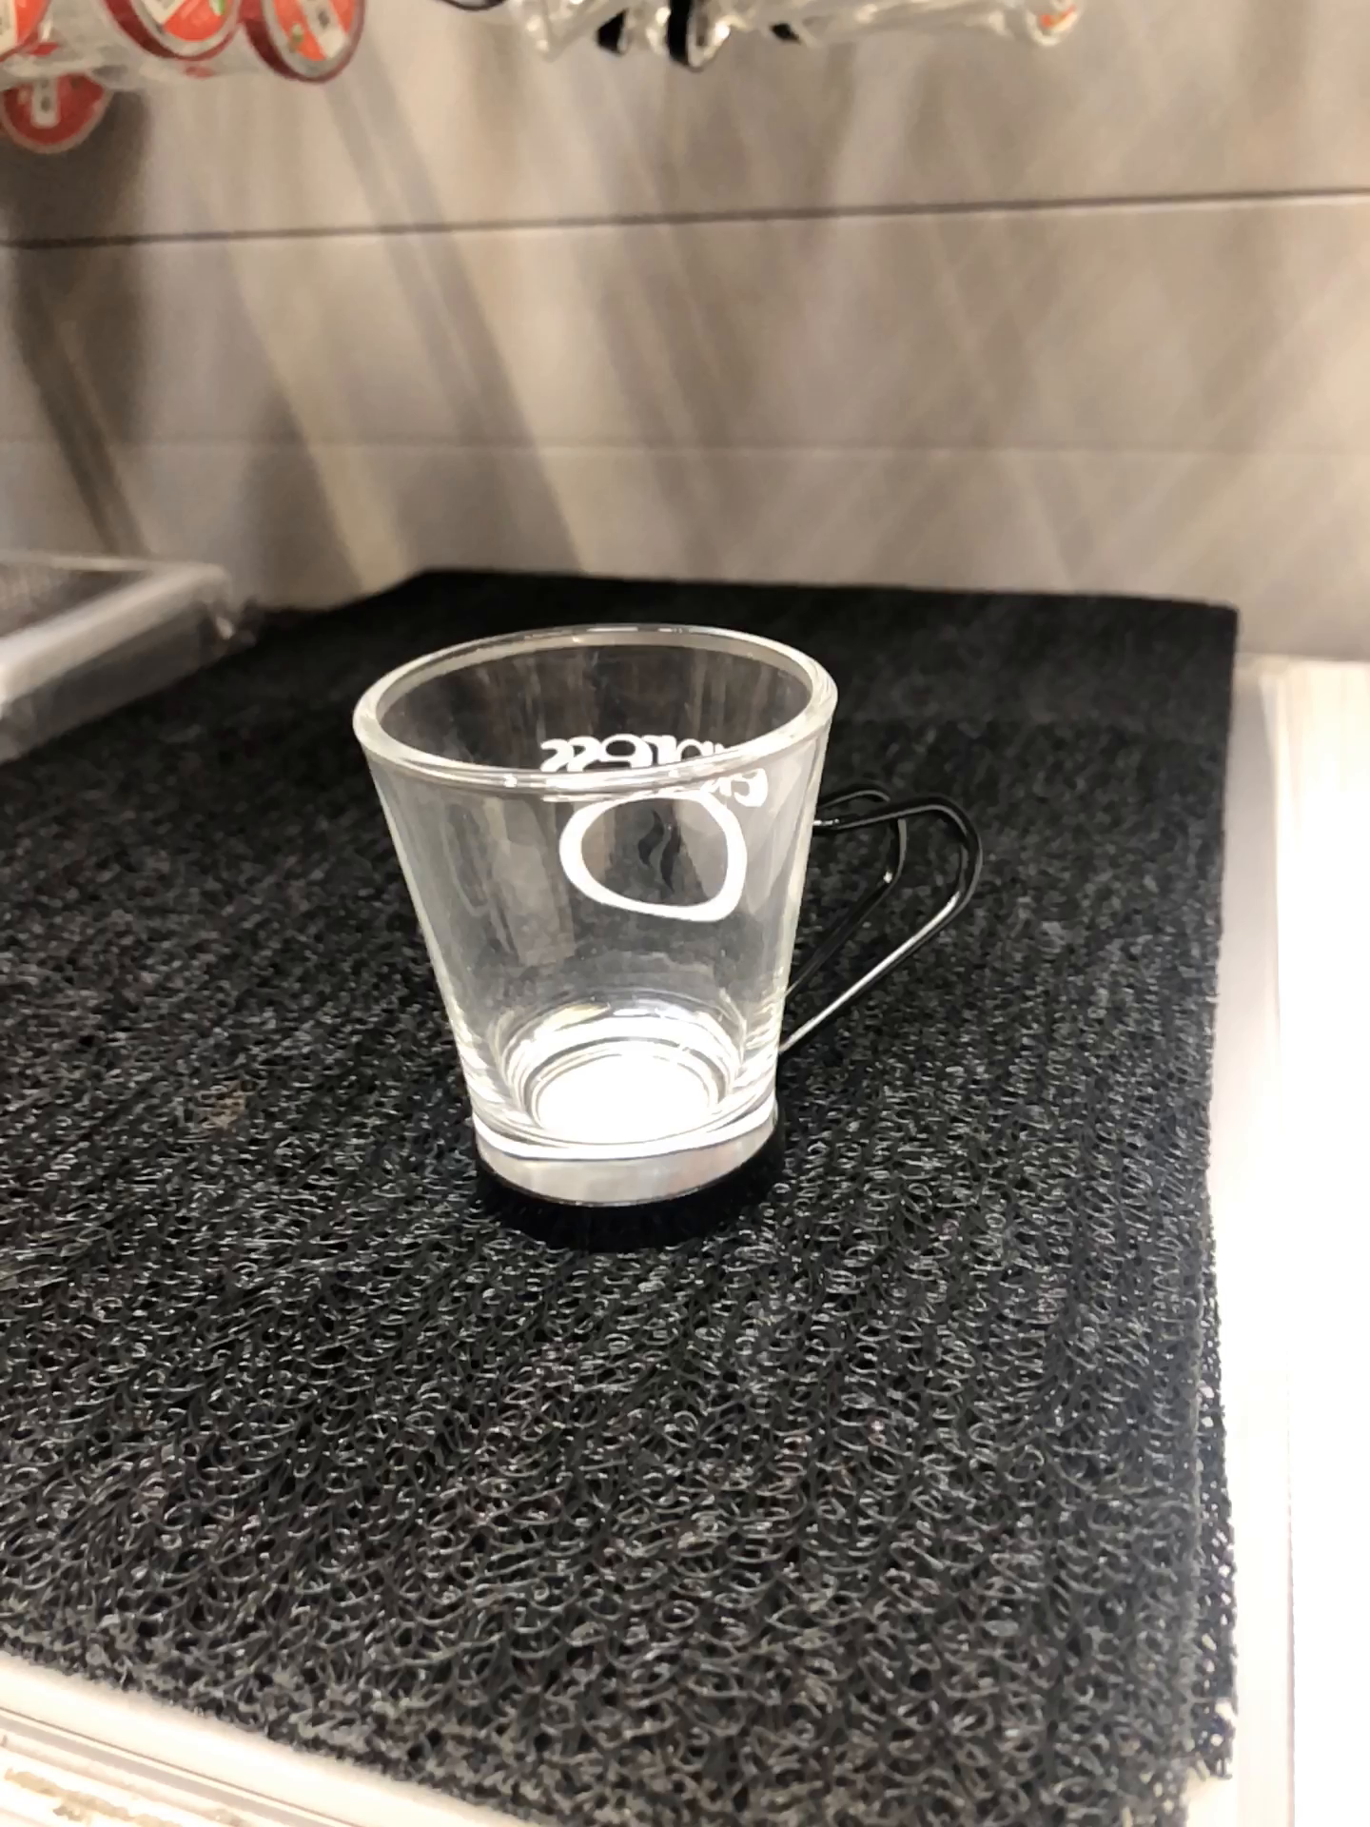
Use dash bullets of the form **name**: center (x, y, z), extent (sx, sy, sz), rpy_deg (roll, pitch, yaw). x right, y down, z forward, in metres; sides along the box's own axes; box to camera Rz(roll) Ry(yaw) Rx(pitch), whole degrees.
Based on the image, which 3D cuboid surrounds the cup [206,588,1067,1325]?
- **cup**: center (-0.007, -0.003, 0.209), extent (0.087, 0.059, 0.073), rpy_deg (-16, 26, -27)
